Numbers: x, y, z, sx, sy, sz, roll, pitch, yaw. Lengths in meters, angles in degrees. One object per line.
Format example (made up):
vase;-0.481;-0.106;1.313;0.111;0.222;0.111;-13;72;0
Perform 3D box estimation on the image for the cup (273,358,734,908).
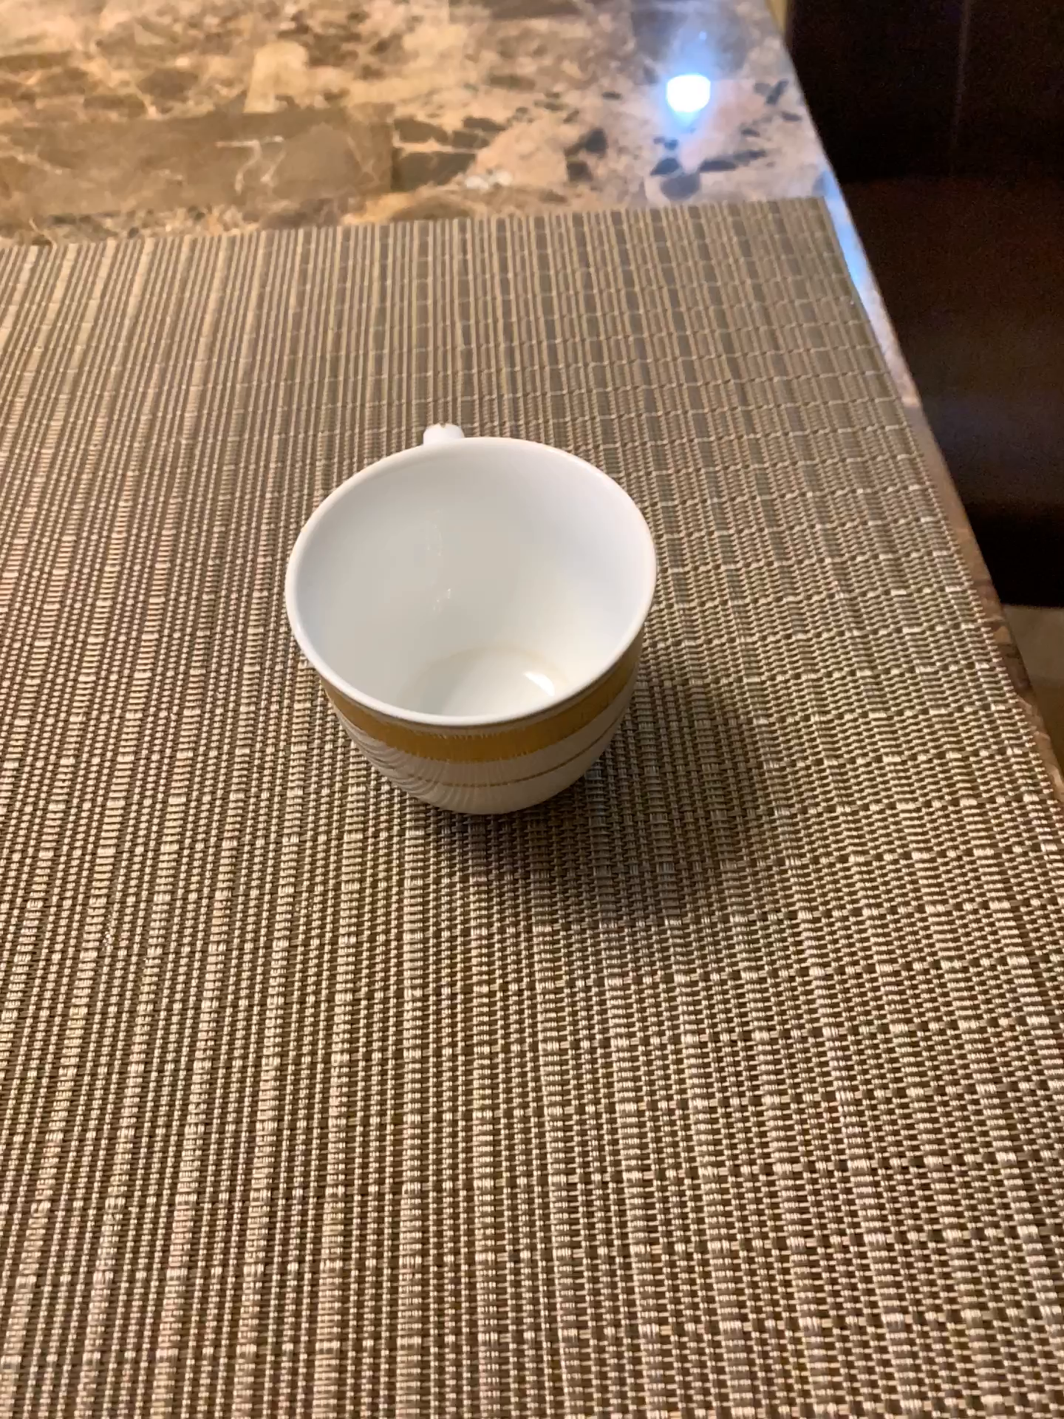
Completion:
cup;-0.010;-0.020;0.254;0.082;0.055;0.104;-10;54;-3
